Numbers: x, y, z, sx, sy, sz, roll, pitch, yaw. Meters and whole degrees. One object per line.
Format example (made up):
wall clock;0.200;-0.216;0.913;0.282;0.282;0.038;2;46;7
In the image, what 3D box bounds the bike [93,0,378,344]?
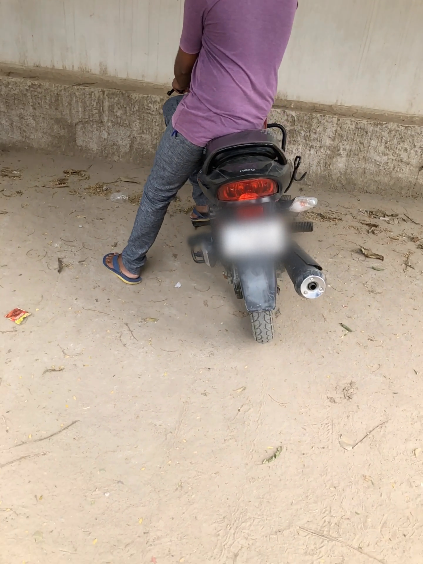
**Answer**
bike;-0.127;-0.776;2.105;0.741;1.086;1.708;-1;36;-12
